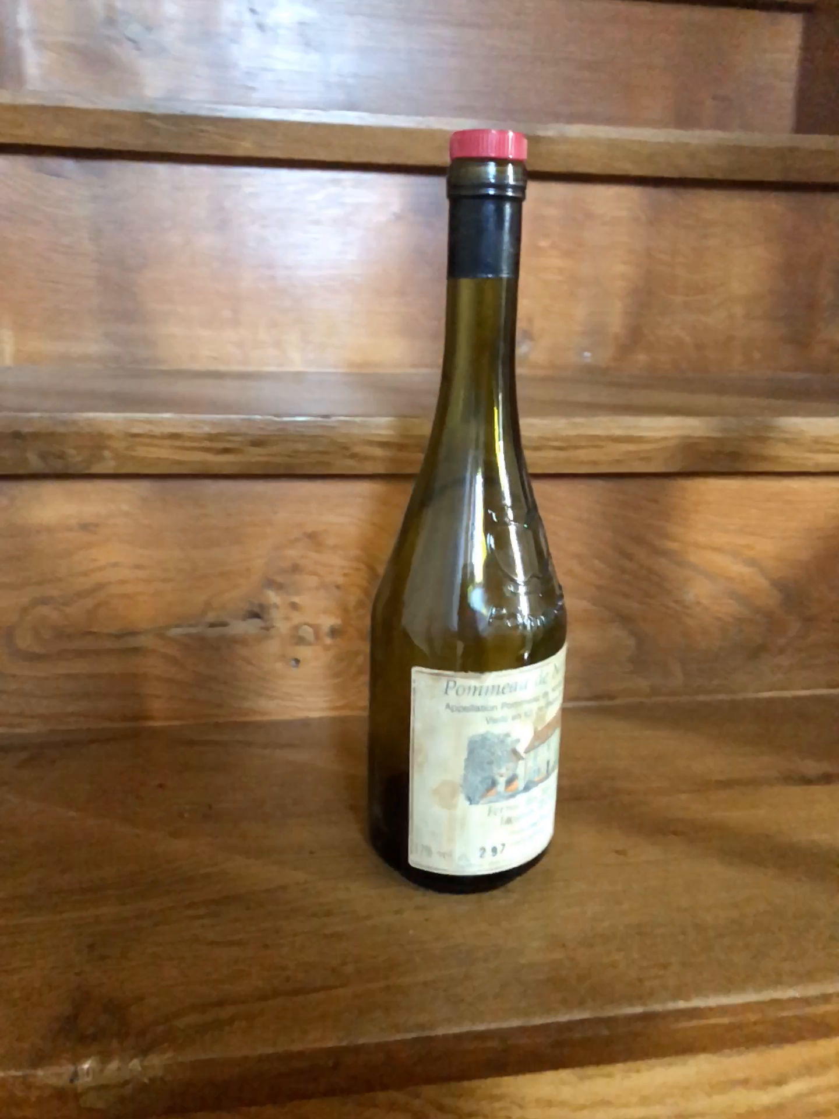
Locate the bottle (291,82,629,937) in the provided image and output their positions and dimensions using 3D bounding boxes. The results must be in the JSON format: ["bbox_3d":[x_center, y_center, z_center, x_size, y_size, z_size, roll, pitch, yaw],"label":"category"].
[{"bbox_3d":[0.011,-0.016,0.388,0.090,0.309,0.090,1,15,0],"label":"bottle"}]
